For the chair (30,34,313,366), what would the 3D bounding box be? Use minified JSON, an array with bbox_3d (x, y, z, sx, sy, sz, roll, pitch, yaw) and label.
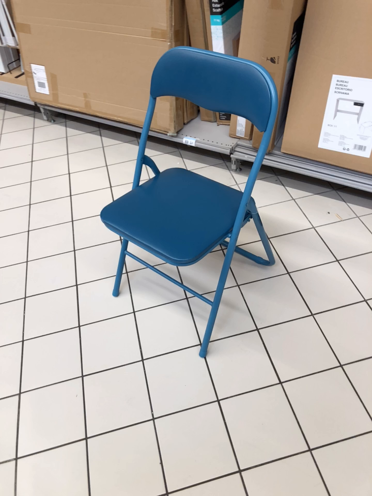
[{"bbox_3d":[-0.005,-0.145,1.276,0.501,0.766,0.502,30,55,31],"label":"chair"}]
